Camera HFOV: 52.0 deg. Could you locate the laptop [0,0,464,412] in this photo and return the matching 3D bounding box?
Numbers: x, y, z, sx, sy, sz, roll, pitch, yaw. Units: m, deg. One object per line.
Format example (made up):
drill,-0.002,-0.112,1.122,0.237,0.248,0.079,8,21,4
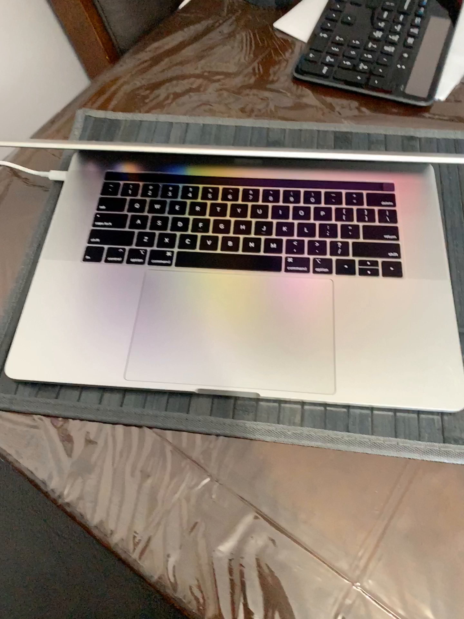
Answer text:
laptop,0.004,-0.080,0.332,0.342,0.166,0.233,4,63,5
